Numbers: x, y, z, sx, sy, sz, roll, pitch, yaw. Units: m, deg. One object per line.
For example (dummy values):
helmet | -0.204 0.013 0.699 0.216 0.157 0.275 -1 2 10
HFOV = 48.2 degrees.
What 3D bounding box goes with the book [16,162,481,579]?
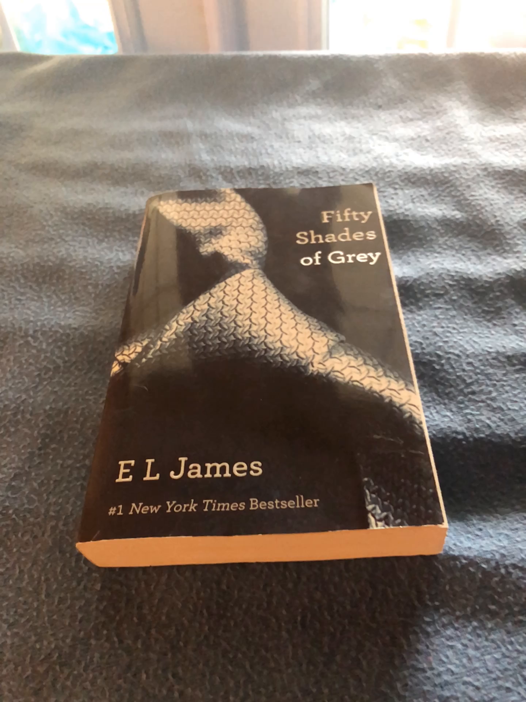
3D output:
book | -0.004 -0.009 0.274 0.150 0.040 0.211 -3 48 4
